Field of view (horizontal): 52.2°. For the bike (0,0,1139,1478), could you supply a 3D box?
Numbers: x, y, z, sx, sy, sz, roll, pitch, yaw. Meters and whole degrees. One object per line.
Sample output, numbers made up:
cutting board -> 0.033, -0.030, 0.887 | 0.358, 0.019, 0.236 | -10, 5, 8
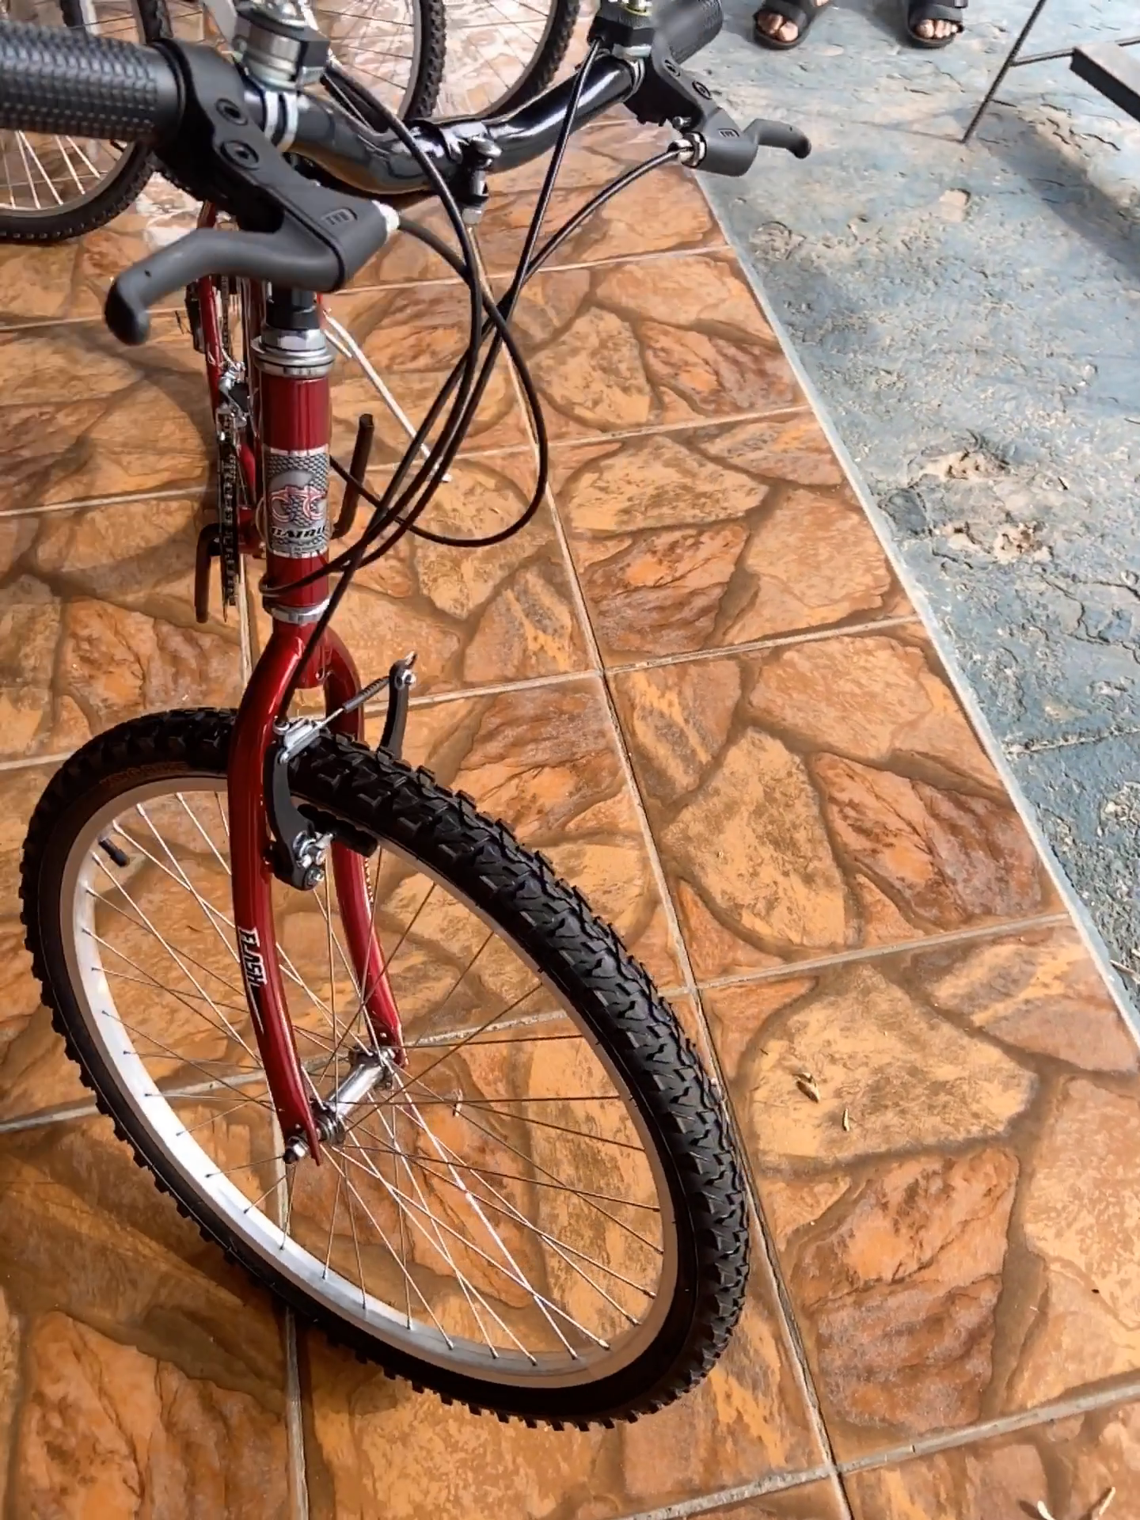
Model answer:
bike -> -0.114, -0.324, 1.074 | 0.599, 0.986, 1.562 | -16, 58, -9
